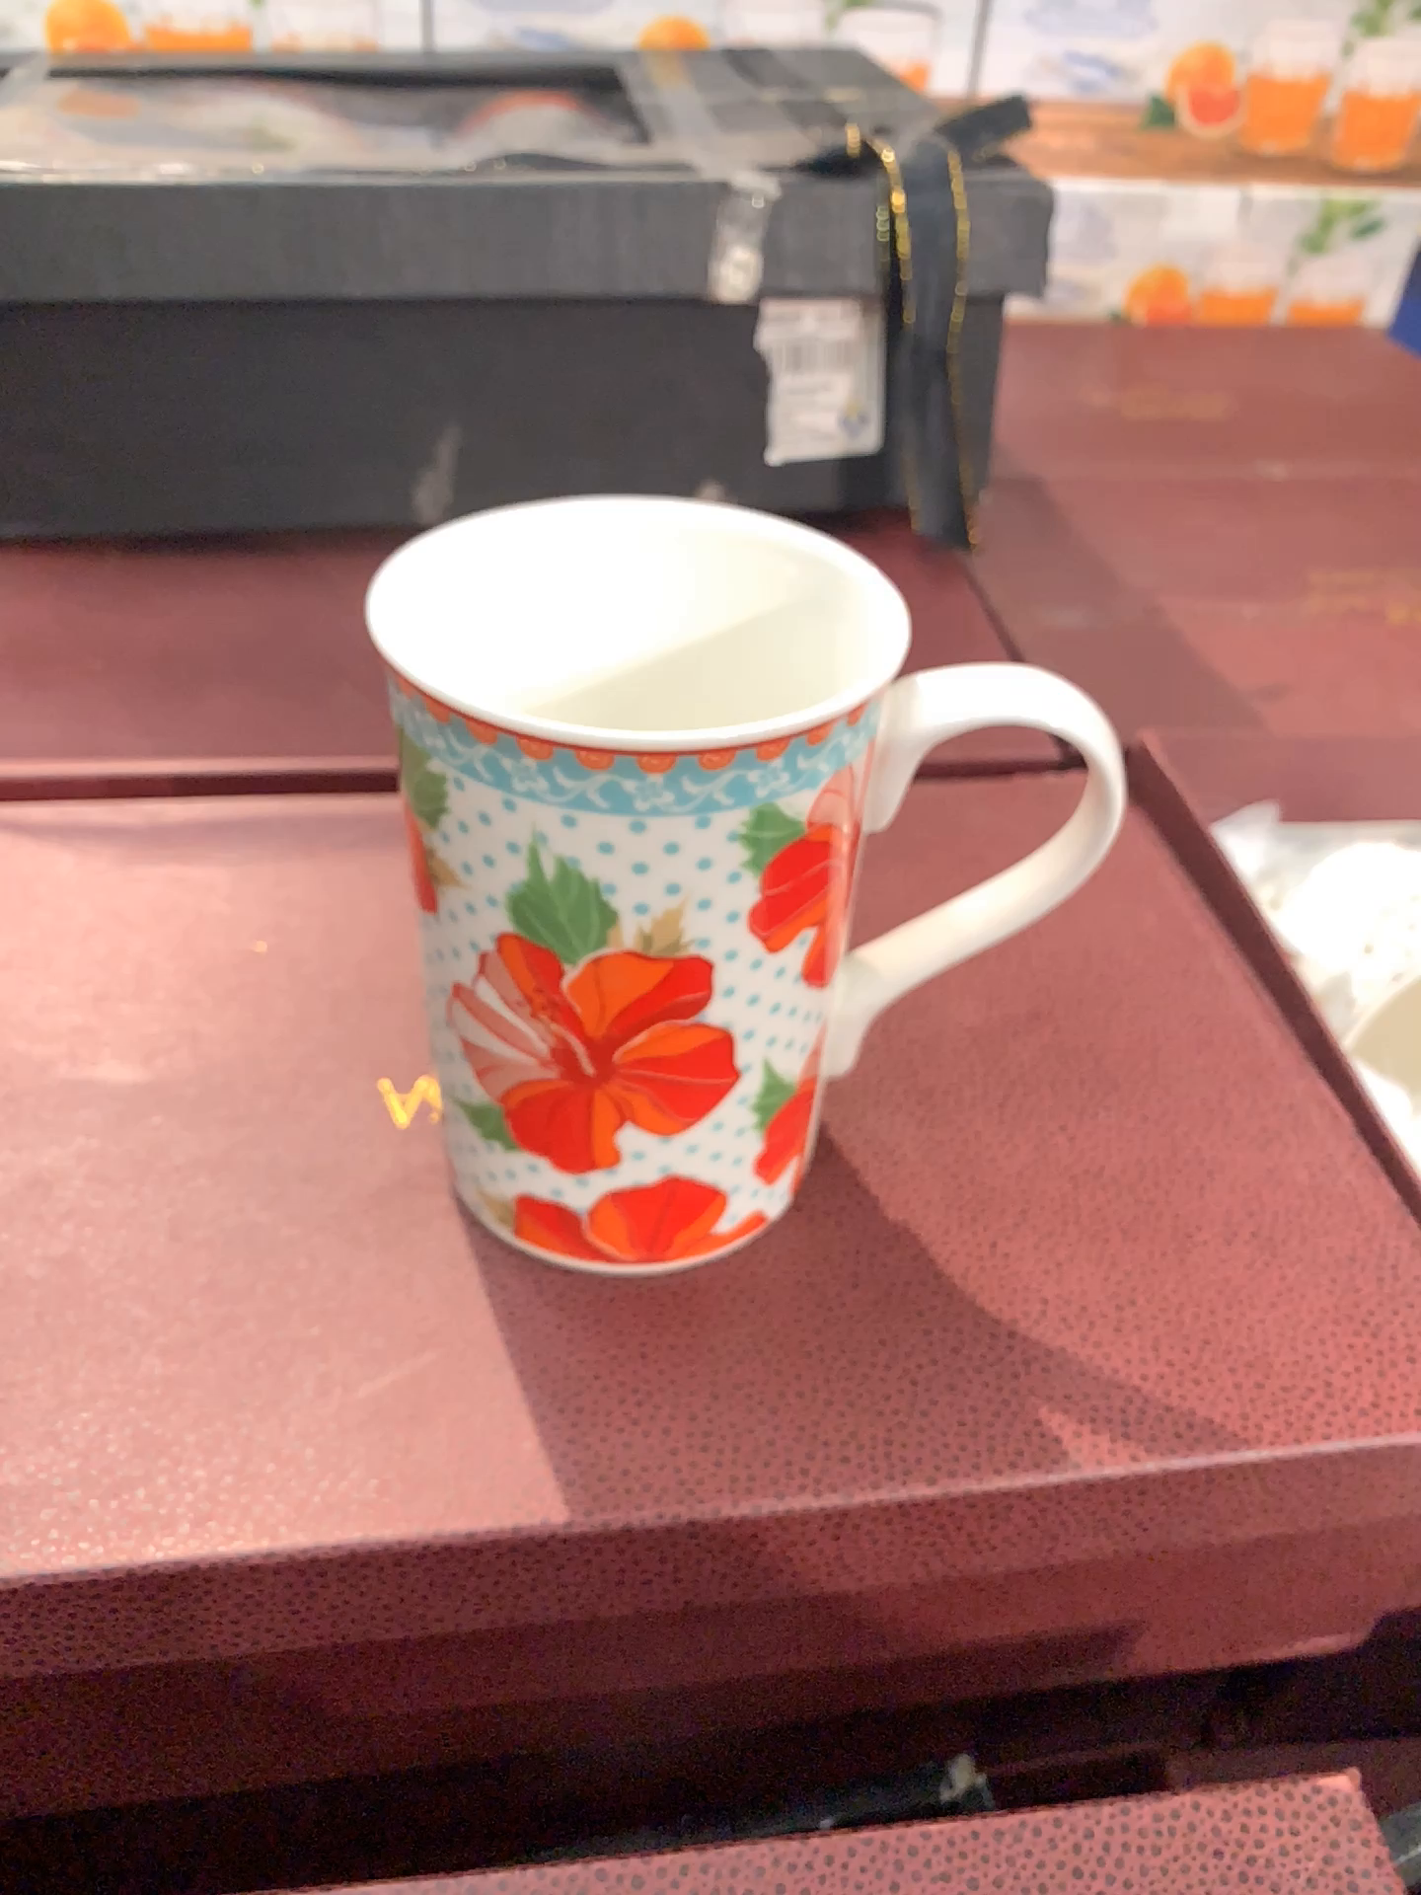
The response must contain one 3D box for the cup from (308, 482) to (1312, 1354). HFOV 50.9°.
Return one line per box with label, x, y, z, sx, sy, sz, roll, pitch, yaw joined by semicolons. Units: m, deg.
cup;0.006;-0.006;0.240;0.120;0.110;0.080;-2;39;-7
